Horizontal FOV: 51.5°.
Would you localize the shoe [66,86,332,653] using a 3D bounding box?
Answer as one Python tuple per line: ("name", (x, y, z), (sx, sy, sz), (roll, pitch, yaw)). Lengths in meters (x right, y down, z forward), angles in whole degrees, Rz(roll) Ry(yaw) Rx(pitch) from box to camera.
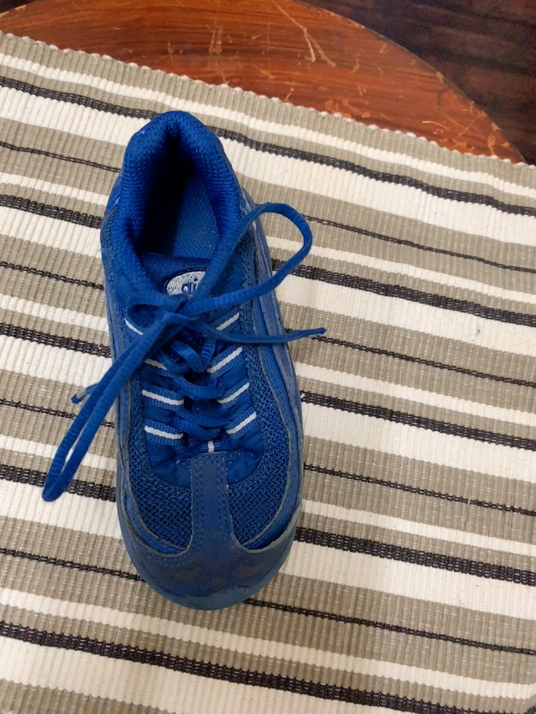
("shoe", (-0.028, 0.001, 0.212), (0.073, 0.080, 0.175), (-3, 79, -6))
